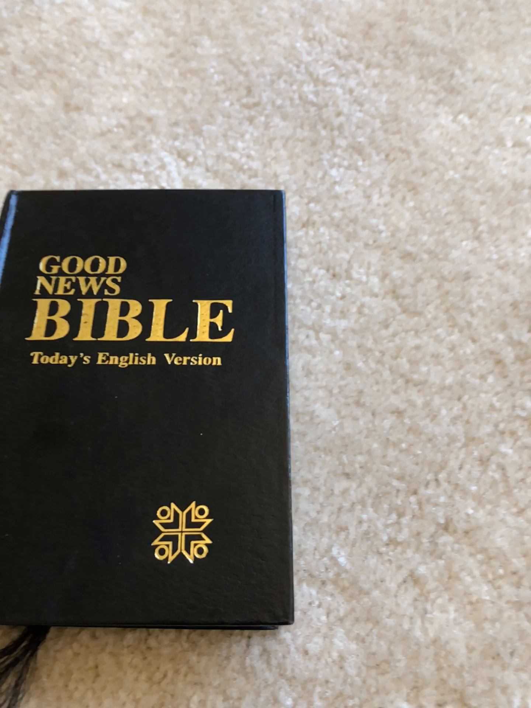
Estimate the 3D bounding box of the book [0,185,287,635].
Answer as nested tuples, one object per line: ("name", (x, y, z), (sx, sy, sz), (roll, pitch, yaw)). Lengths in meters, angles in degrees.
("book", (-0.054, 0.014, 0.220), (0.124, 0.040, 0.160), (0, 65, 1))
